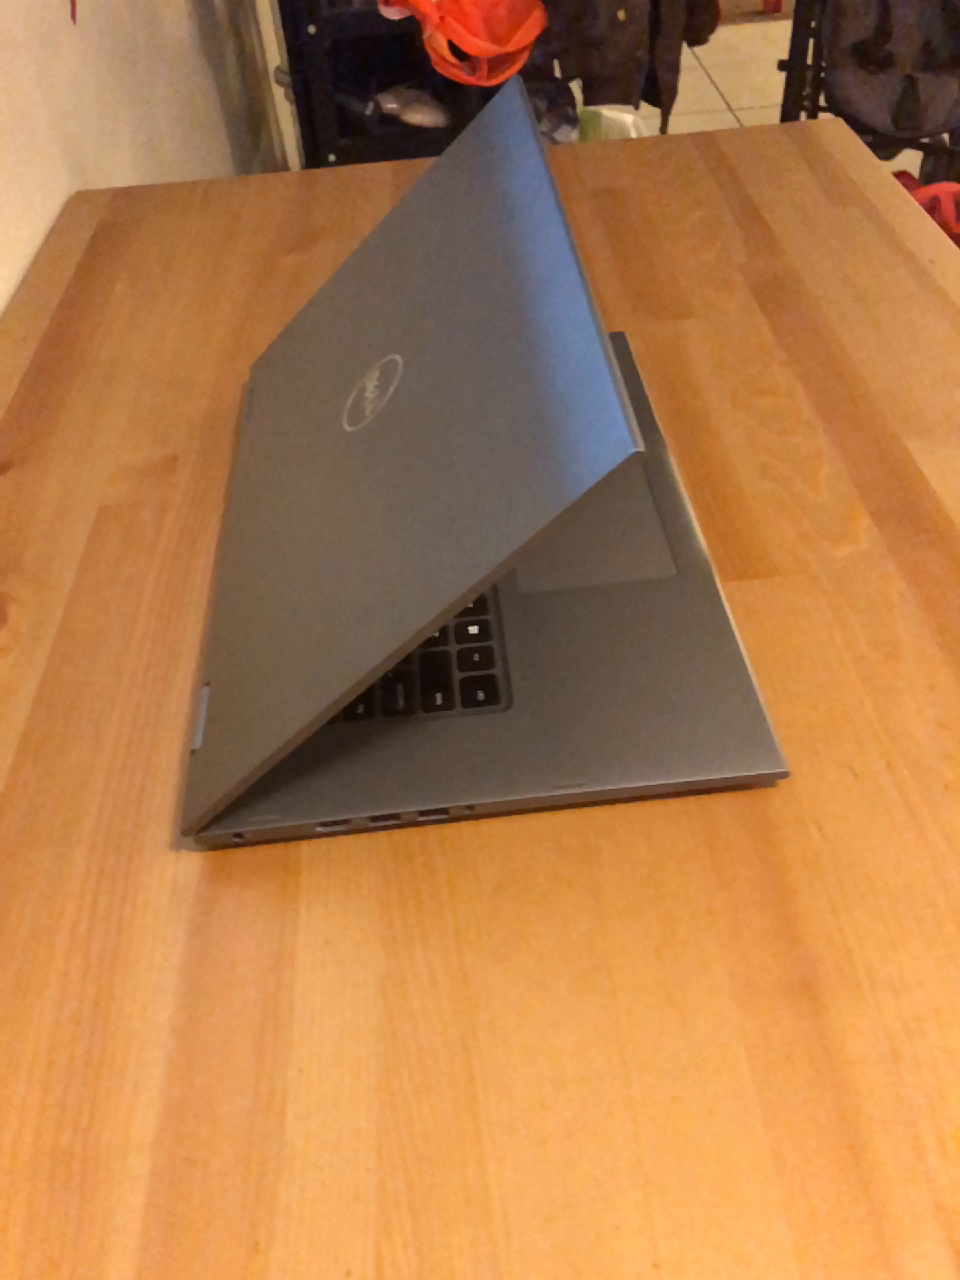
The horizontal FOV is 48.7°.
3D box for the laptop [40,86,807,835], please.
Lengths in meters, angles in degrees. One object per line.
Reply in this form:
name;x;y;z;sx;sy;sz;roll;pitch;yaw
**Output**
laptop;-0.027;-0.118;0.532;0.246;0.165;0.377;-6;44;0
